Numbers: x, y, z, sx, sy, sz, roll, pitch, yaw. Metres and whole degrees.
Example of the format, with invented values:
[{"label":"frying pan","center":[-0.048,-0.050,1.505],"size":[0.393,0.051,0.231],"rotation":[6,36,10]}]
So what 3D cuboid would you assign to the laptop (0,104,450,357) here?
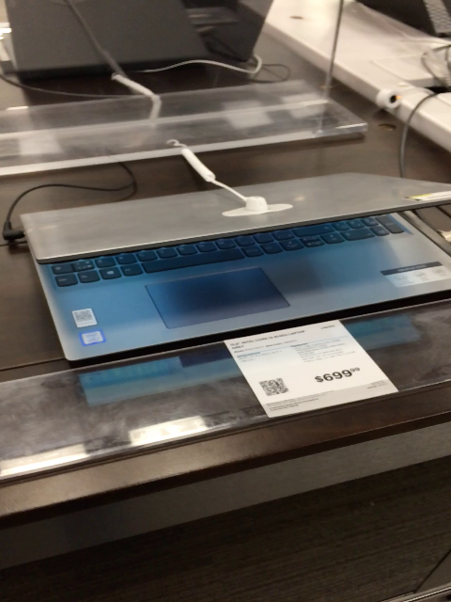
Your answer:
[{"label":"laptop","center":[0.012,-0.087,0.584],"size":[0.393,0.097,0.228],"rotation":[-12,43,-13]}]
